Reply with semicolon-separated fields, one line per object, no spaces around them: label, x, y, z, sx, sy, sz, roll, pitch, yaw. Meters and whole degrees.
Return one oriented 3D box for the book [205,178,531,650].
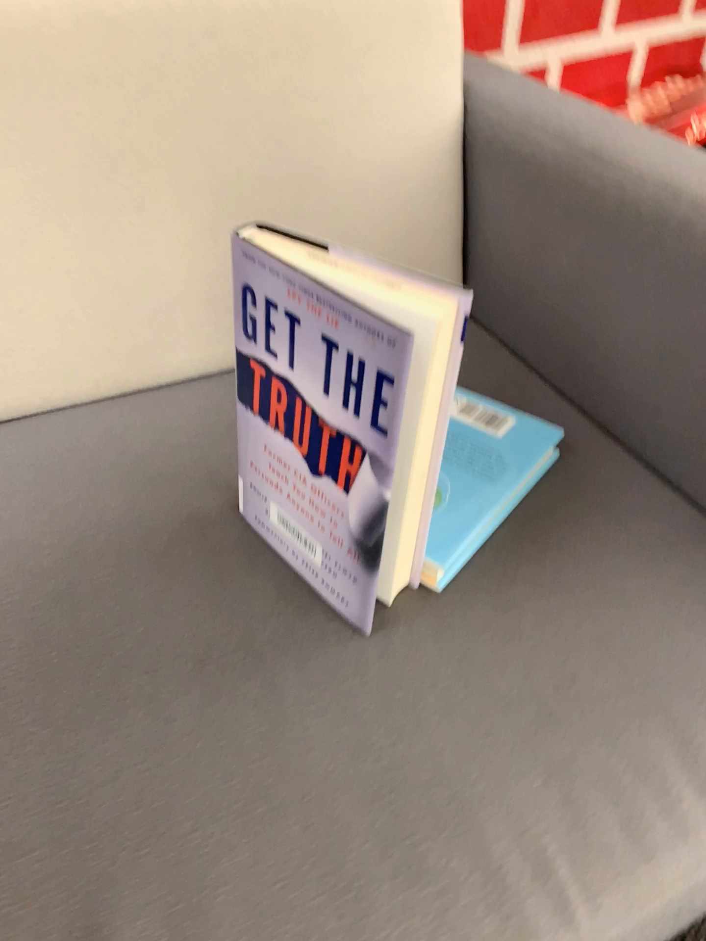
book;-0.005;-0.032;0.425;0.070;0.219;0.160;-28;49;-34

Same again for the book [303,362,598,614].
book;0.080;0.000;0.562;0.140;0.030;0.201;27;51;26
